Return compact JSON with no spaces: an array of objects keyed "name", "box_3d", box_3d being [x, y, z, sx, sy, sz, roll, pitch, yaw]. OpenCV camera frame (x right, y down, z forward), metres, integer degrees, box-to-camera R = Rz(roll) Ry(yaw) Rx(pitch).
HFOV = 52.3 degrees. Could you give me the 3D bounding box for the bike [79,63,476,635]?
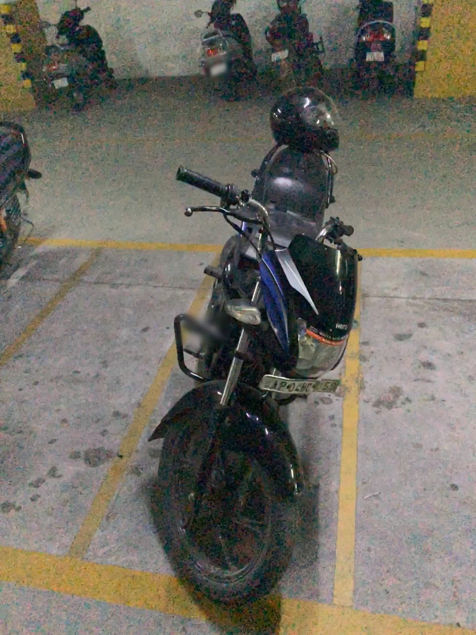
[{"name":"bike","box_3d":[0.219,-0.037,1.774,0.767,1.156,1.725,0,39,8]}]
